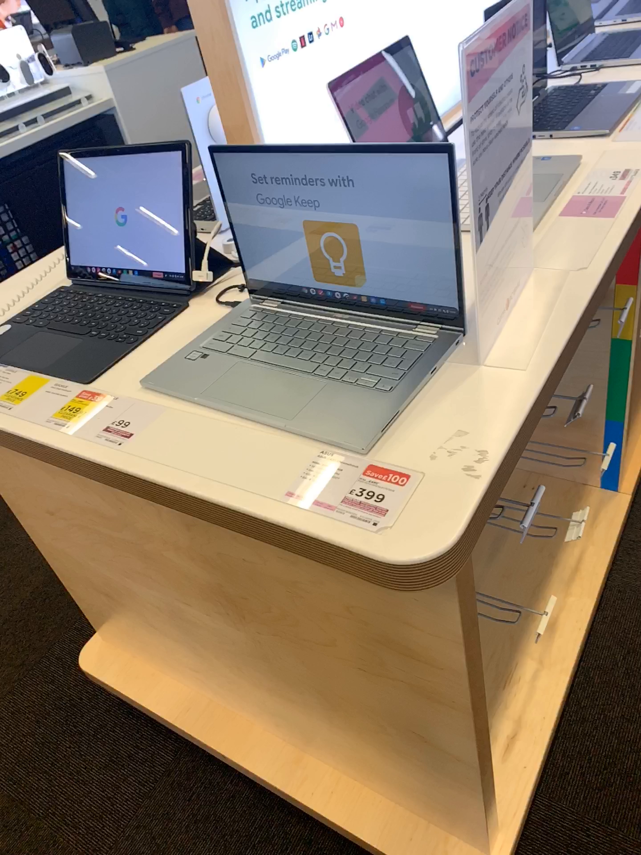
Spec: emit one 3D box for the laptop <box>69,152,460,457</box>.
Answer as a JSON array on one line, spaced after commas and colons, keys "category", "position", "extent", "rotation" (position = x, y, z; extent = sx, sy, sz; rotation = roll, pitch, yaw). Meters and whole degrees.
[{"category": "laptop", "position": [-0.051, -0.149, 0.686], "extent": [0.318, 0.195, 0.204], "rotation": [16, 47, 34]}]
